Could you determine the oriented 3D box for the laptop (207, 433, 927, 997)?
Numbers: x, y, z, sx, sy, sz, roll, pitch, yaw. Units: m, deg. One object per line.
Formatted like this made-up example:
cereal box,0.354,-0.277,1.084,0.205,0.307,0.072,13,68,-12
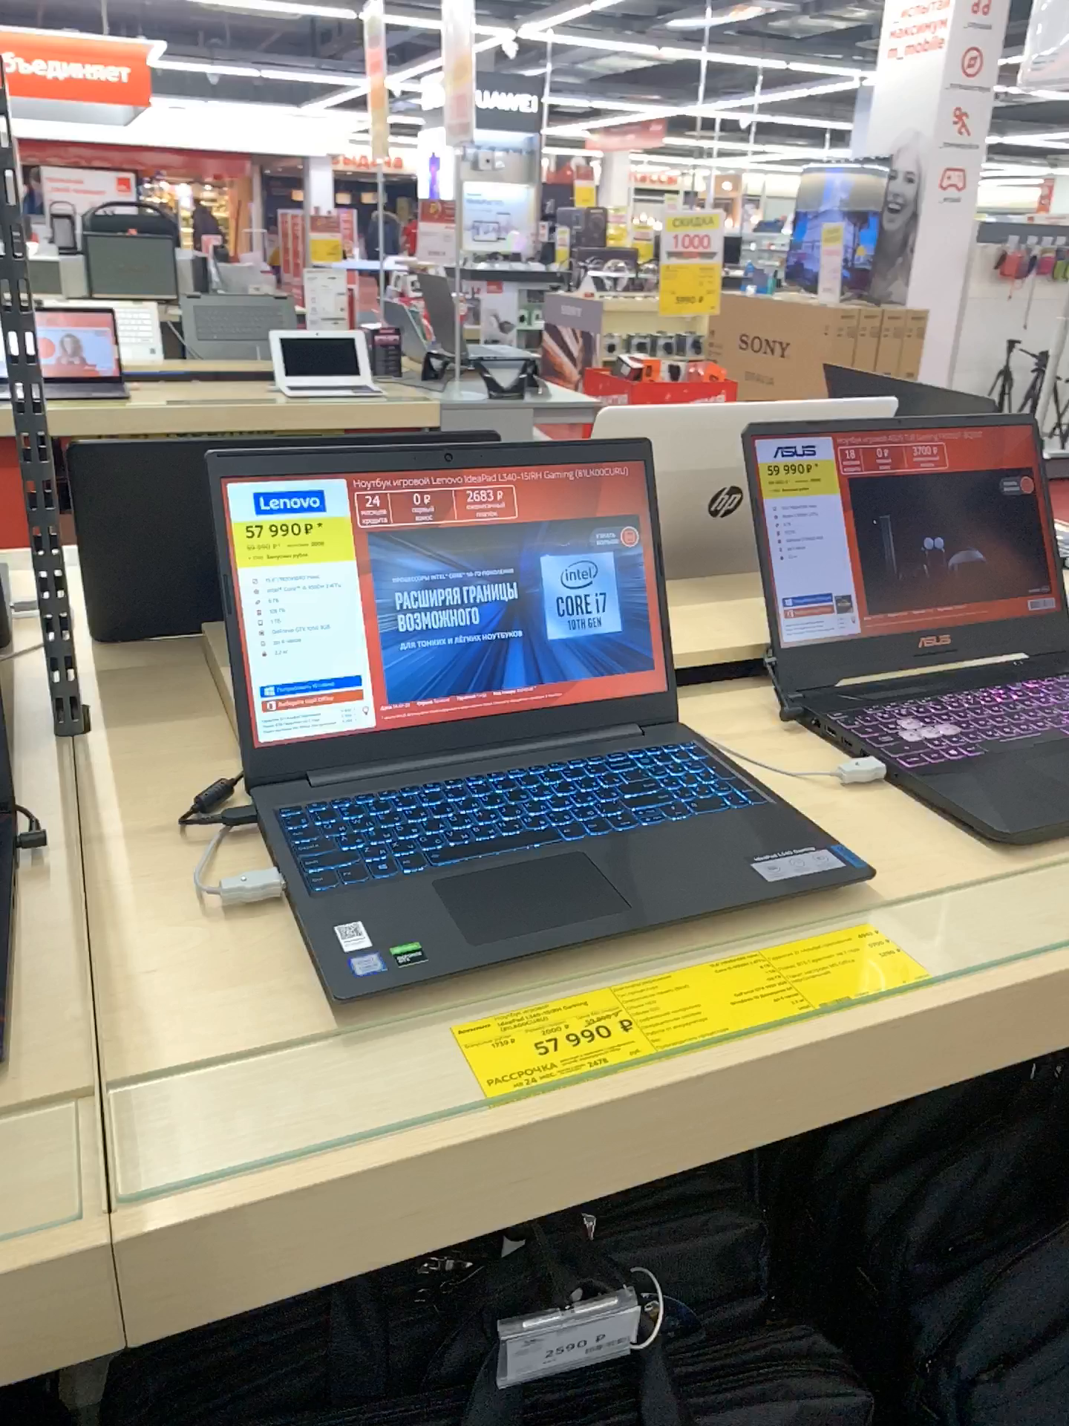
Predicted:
laptop,-0.008,-0.043,0.759,0.357,0.223,0.348,-8,26,-23
